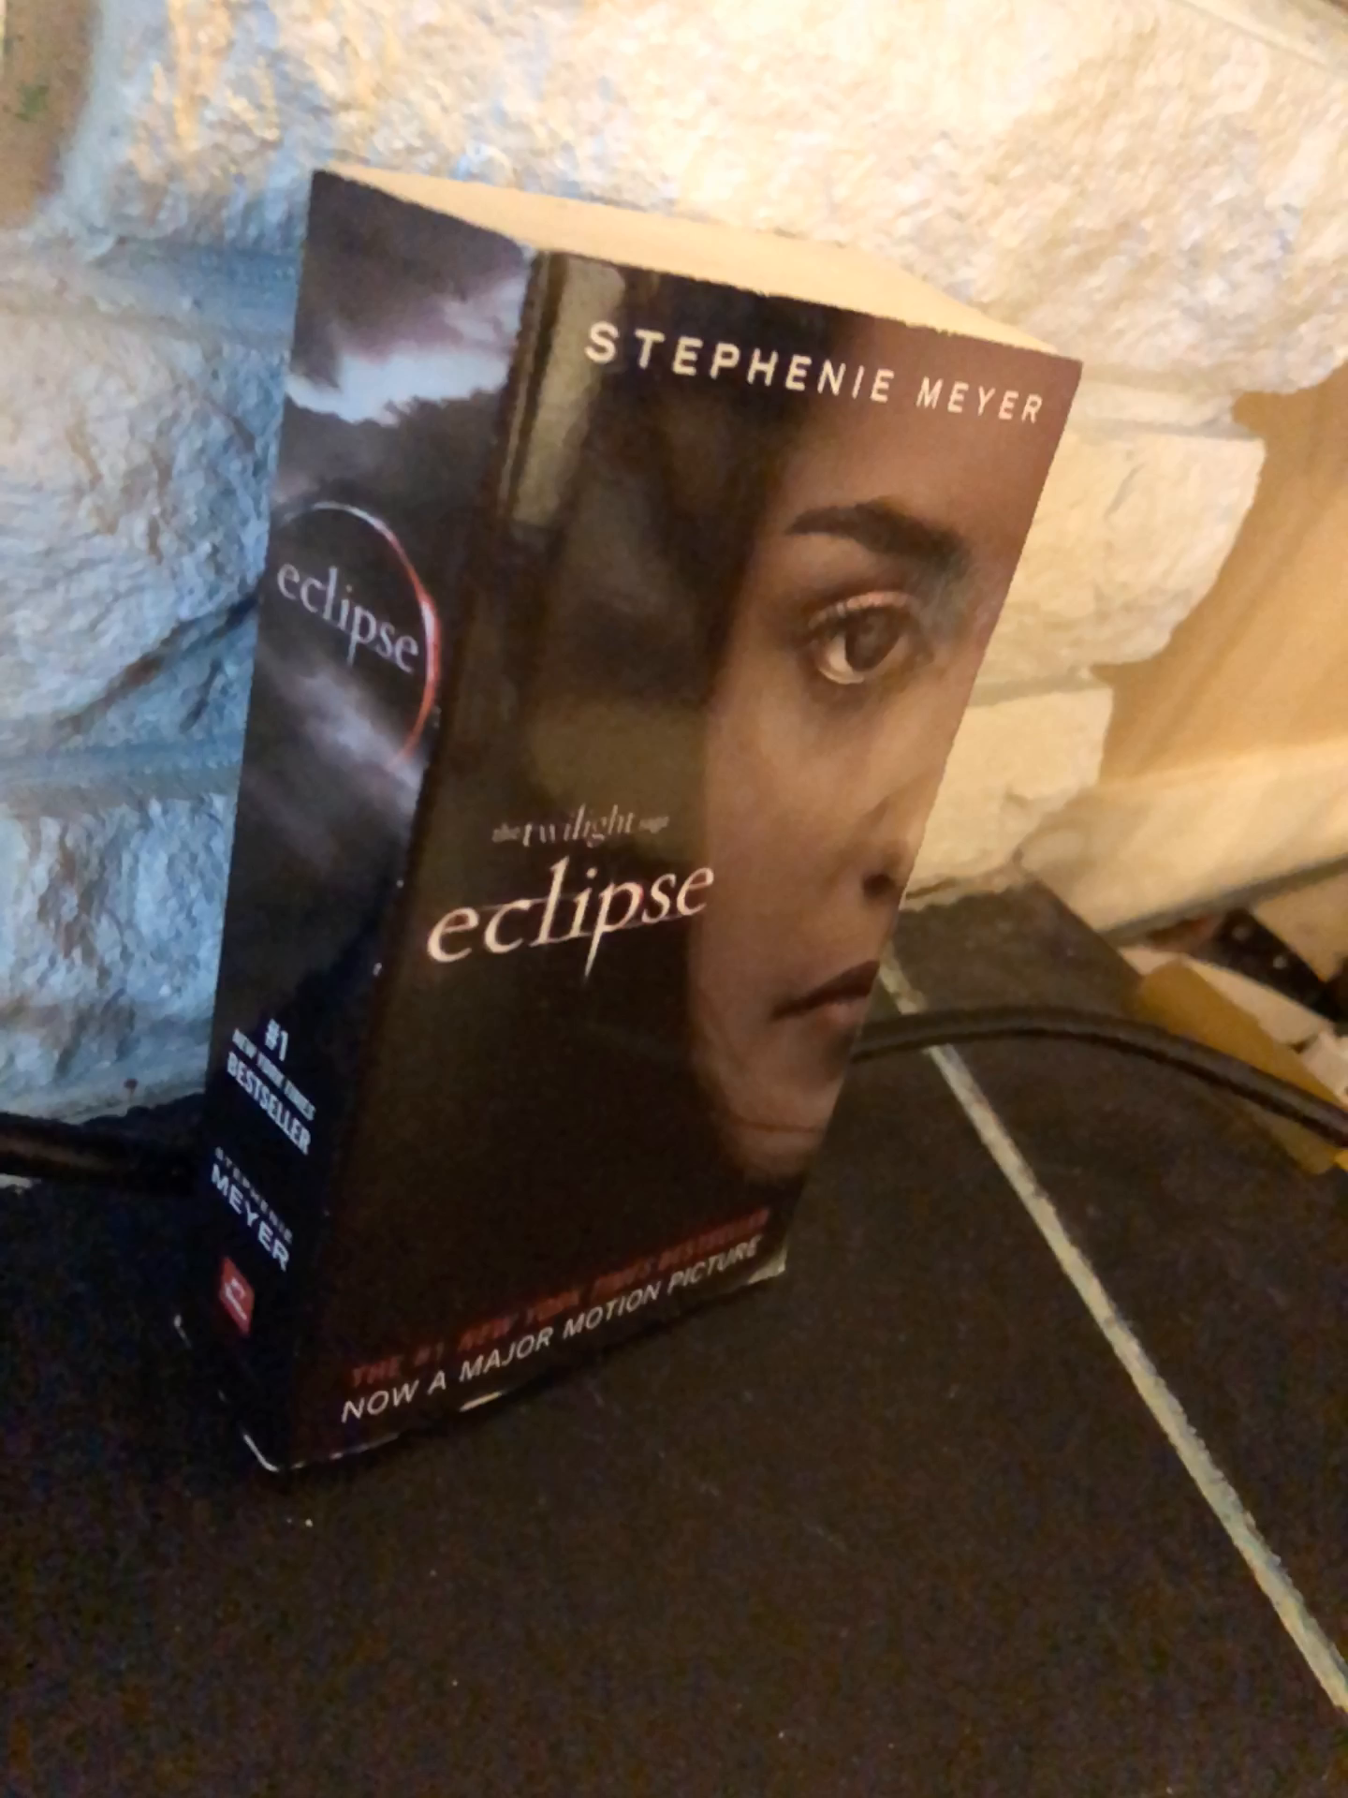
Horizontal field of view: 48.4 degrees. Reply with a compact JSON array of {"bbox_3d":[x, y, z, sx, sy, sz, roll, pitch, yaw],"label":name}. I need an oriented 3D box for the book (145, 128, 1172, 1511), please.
[{"bbox_3d":[-0.010,-0.002,0.225,0.106,0.181,0.042,-9,38,-38],"label":"book"}]
